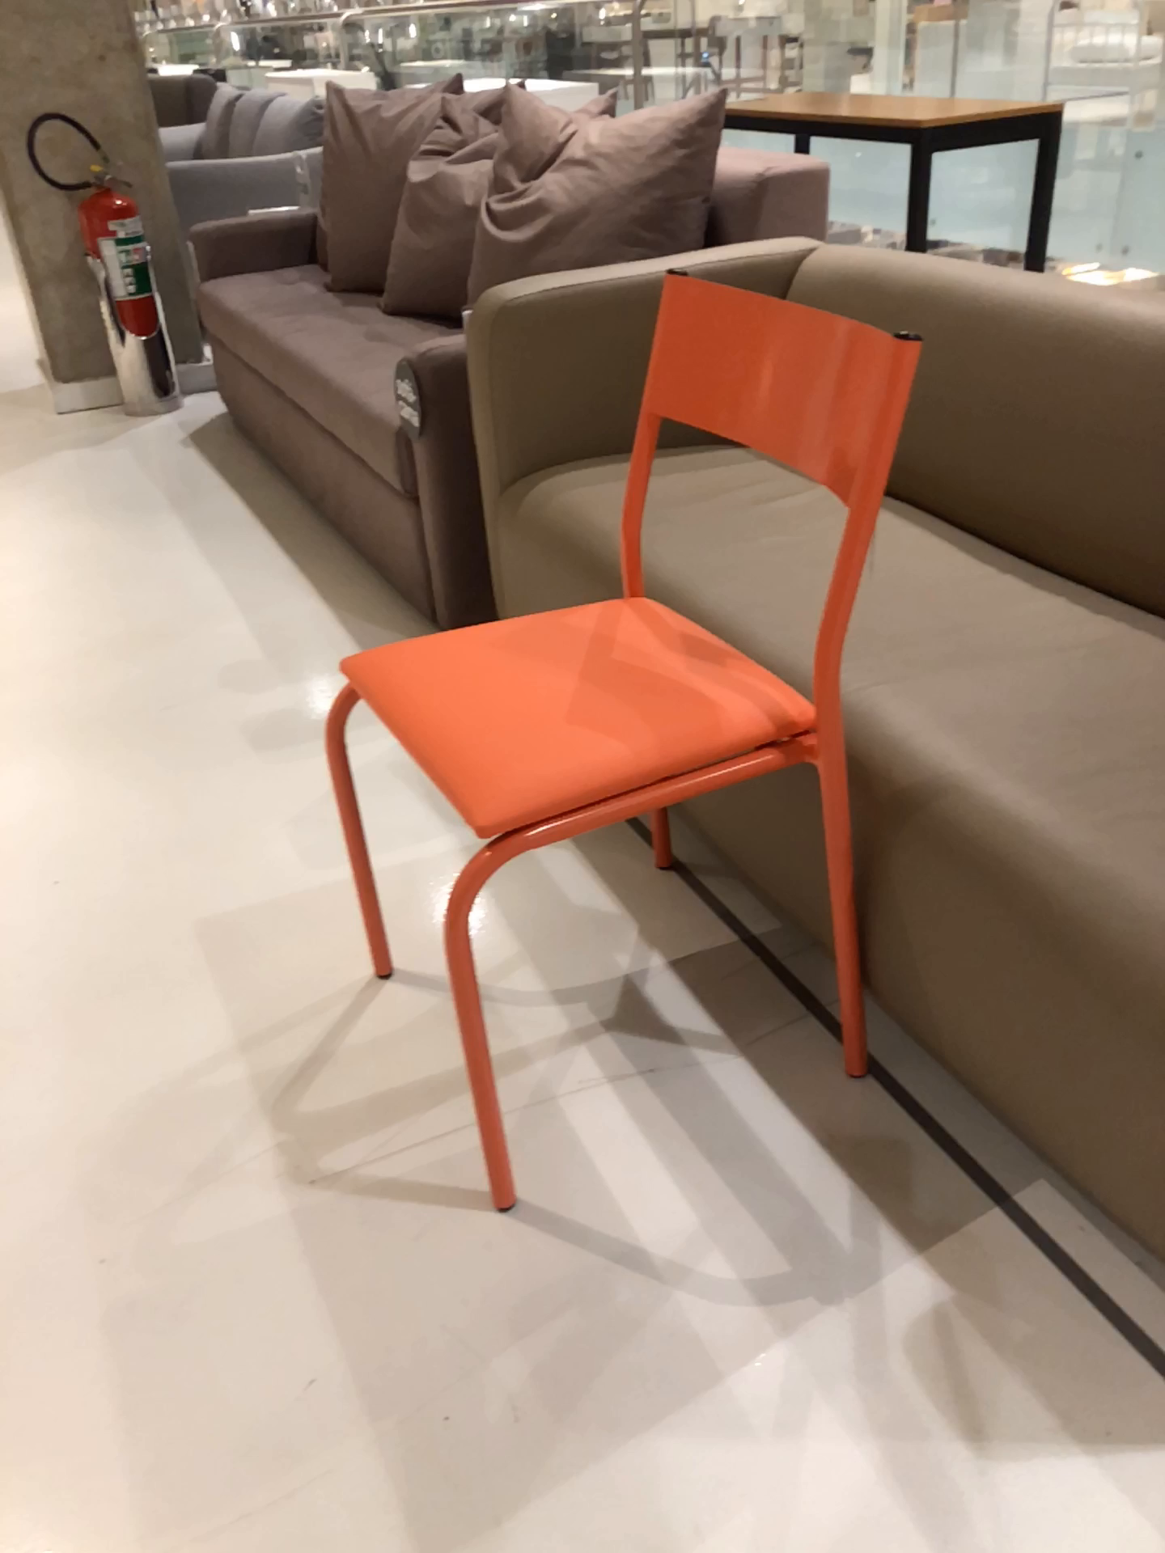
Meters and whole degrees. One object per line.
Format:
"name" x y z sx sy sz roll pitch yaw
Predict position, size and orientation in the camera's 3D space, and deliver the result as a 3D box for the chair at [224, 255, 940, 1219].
"chair" -0.008 -0.074 1.359 0.491 0.784 0.503 -16 32 -19
